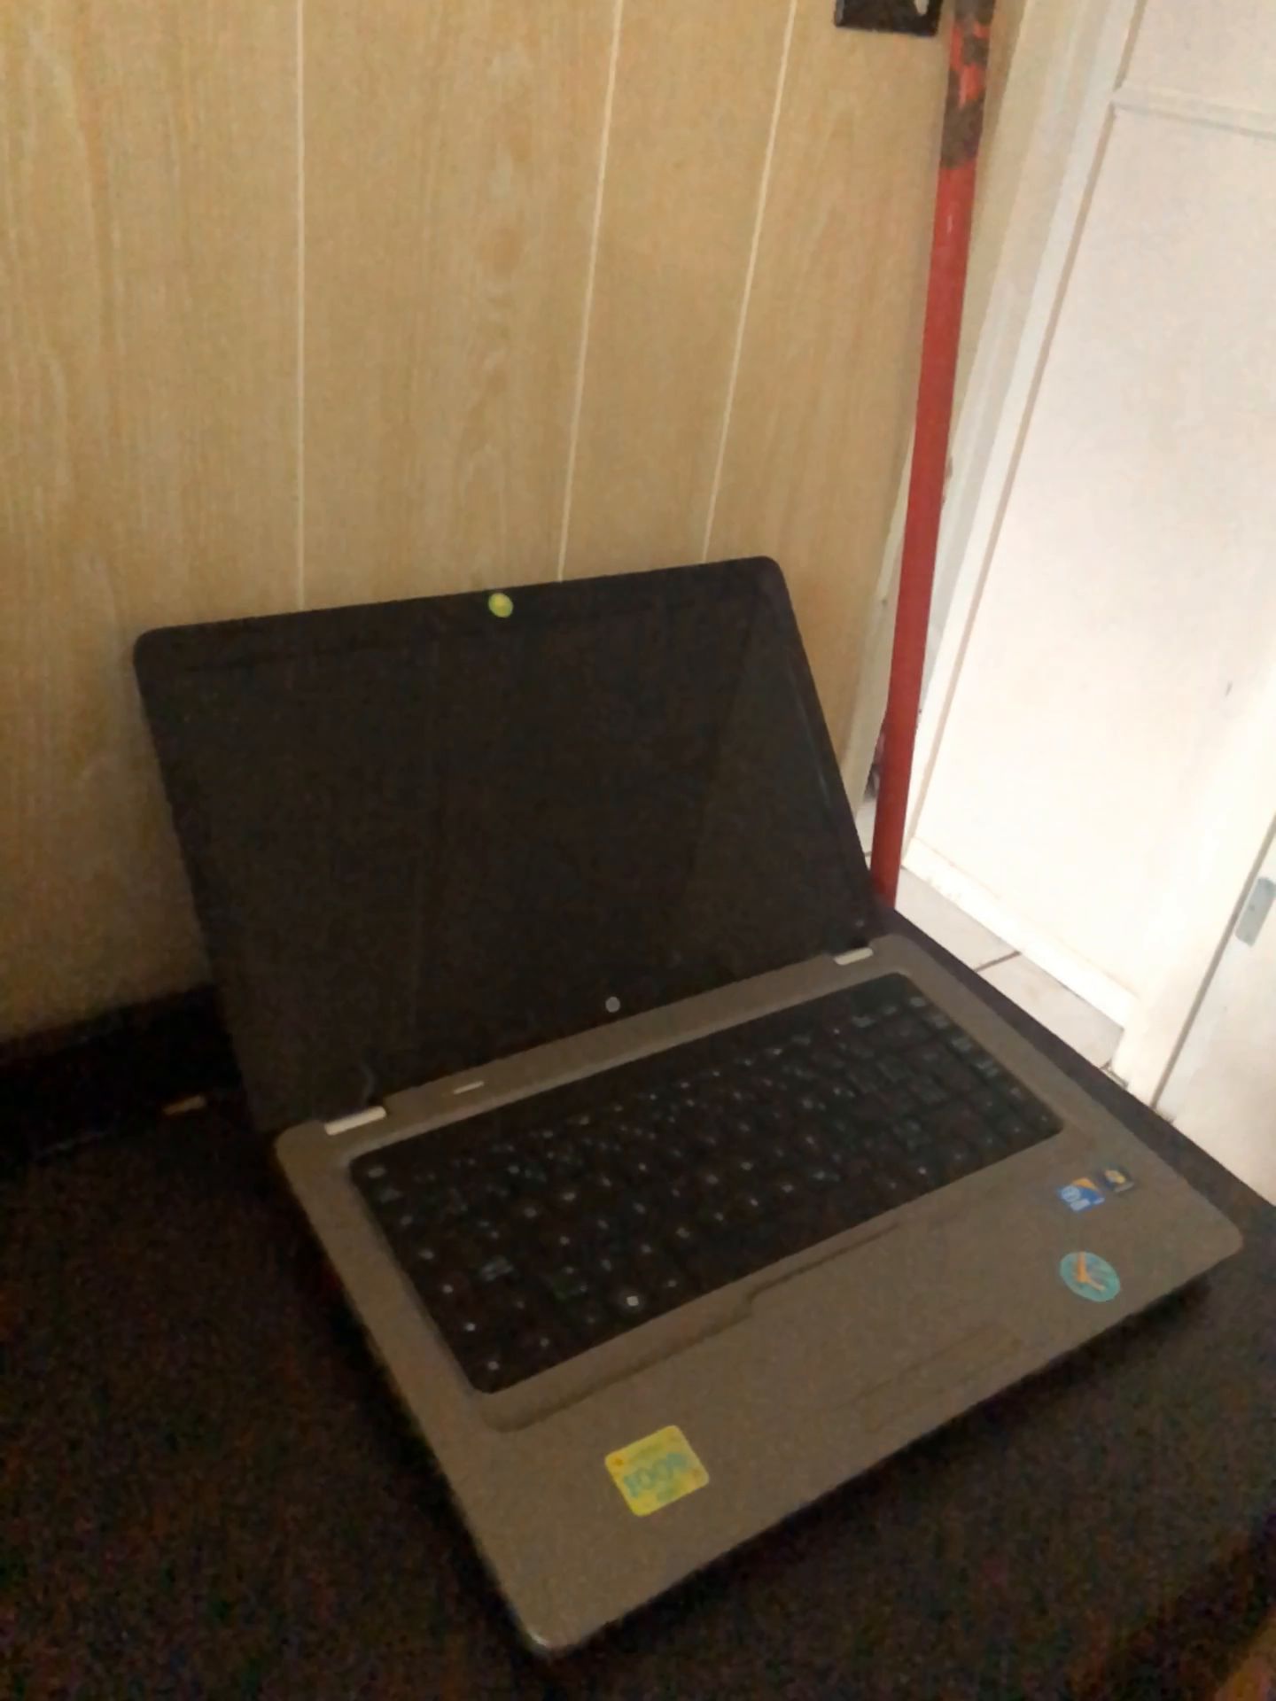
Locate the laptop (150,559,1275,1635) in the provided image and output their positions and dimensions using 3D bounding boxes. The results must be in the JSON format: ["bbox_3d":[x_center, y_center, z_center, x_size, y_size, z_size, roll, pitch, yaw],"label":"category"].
[{"bbox_3d":[0.024,0.039,0.641,0.363,0.154,0.420,-13,40,-31],"label":"laptop"}]
